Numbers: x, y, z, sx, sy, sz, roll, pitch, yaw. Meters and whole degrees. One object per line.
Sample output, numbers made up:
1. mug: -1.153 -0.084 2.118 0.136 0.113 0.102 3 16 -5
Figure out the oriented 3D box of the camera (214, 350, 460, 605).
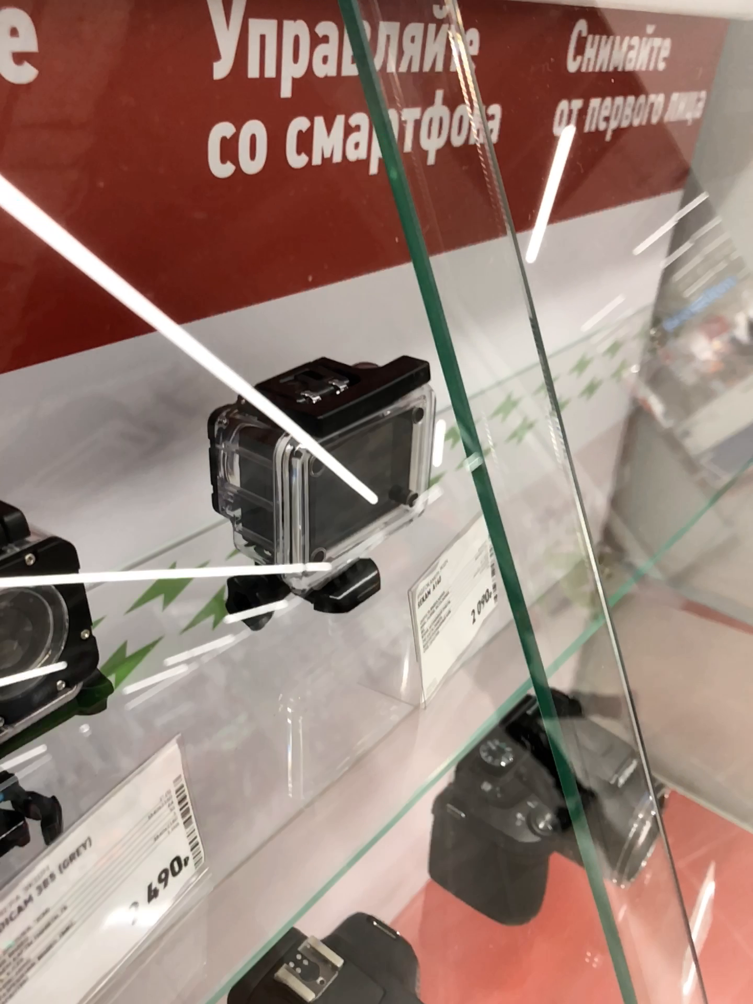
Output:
1. camera: -0.012 -0.012 0.282 0.040 0.053 0.076 22 34 30
